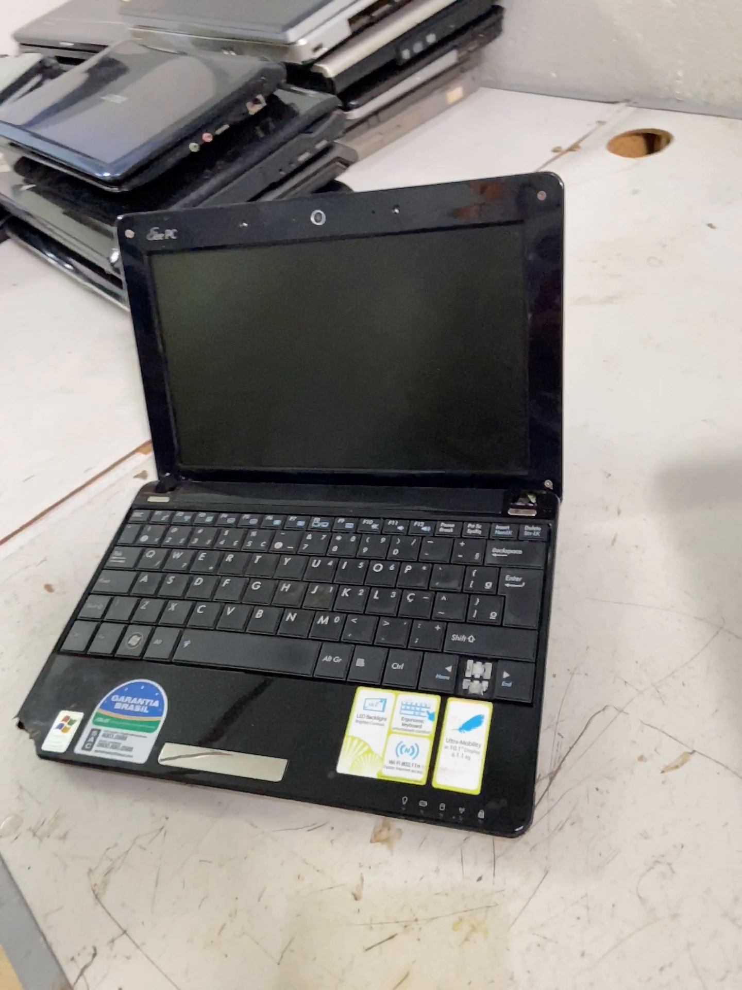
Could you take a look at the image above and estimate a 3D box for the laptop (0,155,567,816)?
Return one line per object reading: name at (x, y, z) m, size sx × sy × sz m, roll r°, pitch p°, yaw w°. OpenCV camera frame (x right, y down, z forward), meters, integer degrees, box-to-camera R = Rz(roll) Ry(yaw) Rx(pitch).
laptop at (-0.046, -0.024, 0.382) m, size 0.258 × 0.131 × 0.266 m, roll 2°, pitch 51°, yaw 19°
